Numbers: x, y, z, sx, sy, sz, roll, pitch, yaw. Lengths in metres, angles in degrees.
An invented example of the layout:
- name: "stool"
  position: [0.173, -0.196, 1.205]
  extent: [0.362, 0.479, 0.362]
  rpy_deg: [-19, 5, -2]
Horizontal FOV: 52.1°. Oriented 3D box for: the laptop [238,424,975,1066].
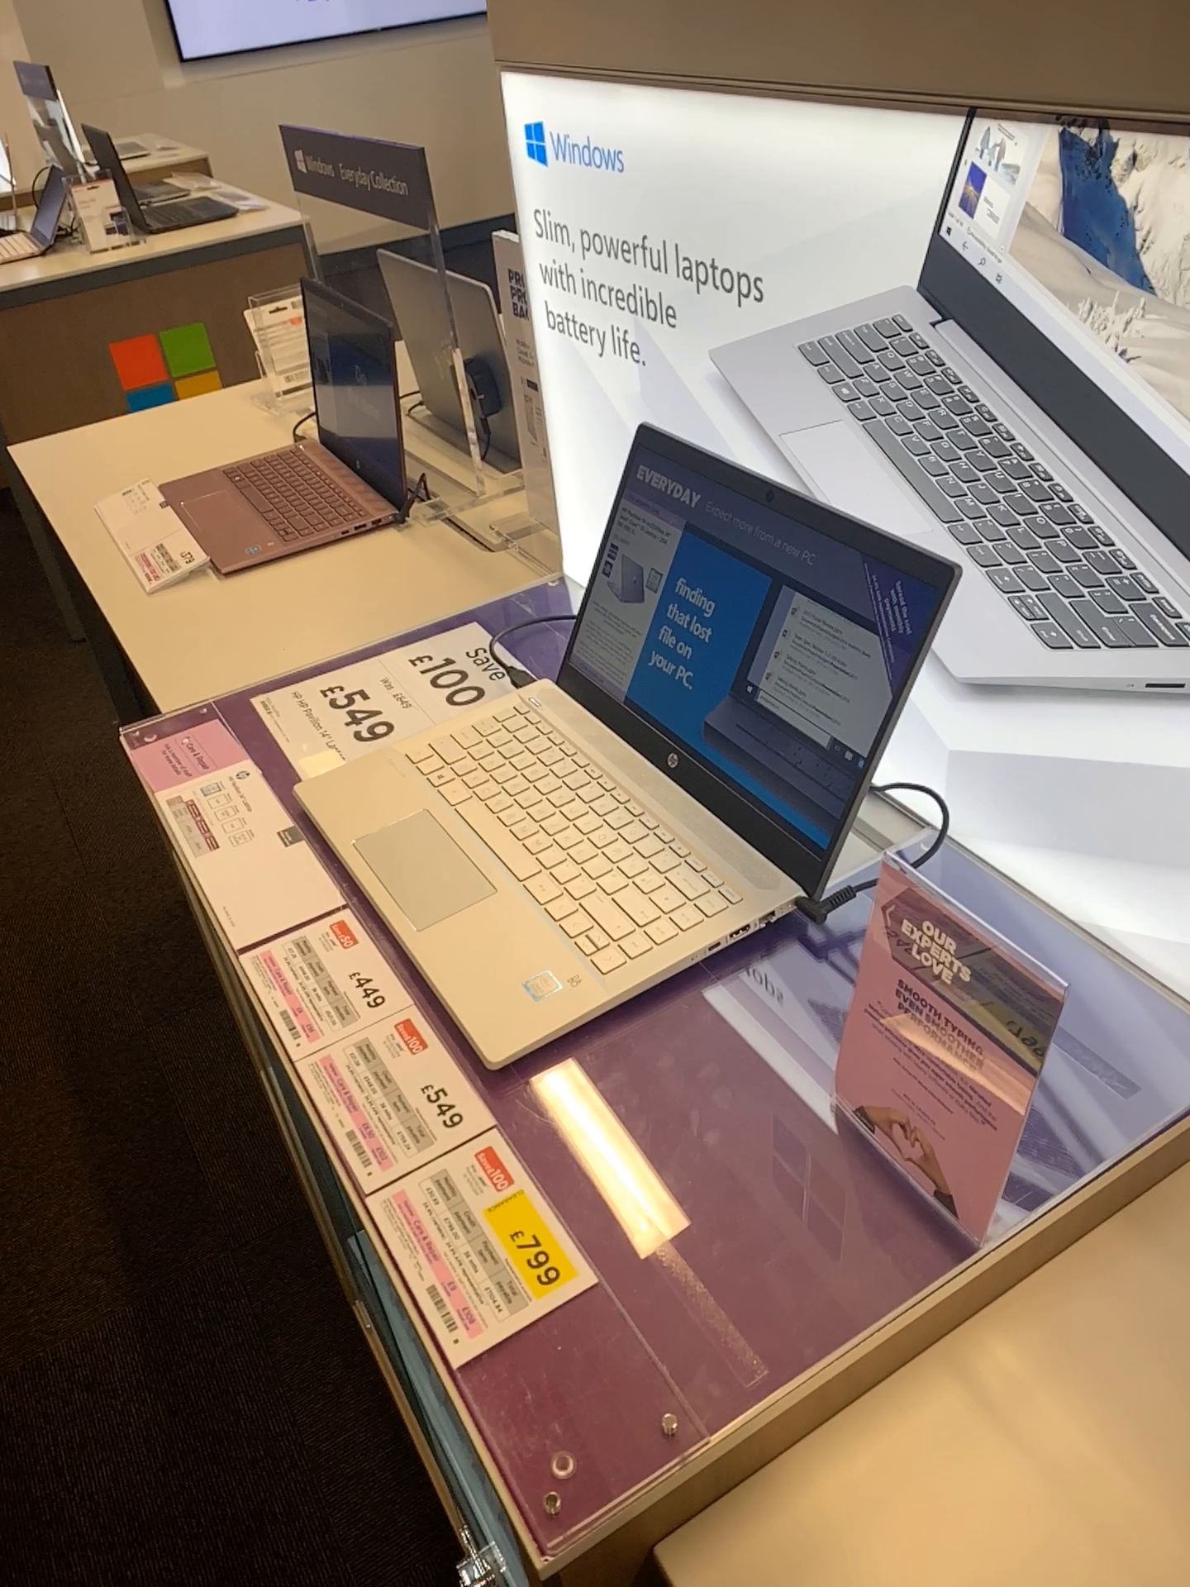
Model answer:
- name: "laptop"
  position: [-0.002, -0.063, 0.766]
  extent: [0.323, 0.171, 0.315]
  rpy_deg: [-25, 39, -20]
